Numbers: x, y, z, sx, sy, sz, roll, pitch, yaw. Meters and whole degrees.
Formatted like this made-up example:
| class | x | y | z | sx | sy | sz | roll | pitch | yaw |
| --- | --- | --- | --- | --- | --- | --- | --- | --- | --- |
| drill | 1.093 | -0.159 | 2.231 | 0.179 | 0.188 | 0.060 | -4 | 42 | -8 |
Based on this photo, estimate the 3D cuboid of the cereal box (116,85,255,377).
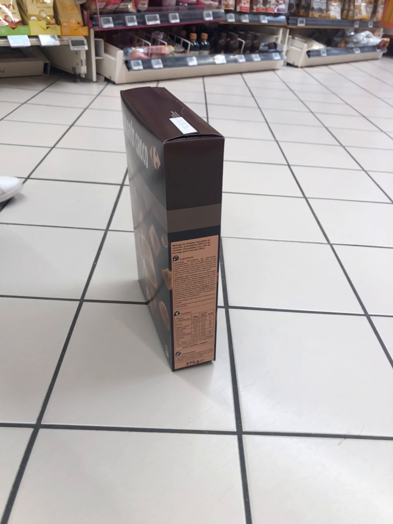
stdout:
| class | x | y | z | sx | sy | sz | roll | pitch | yaw |
| --- | --- | --- | --- | --- | --- | --- | --- | --- | --- |
| cereal box | -0.024 | -0.042 | 0.505 | 0.080 | 0.268 | 0.201 | -10 | 35 | -17 |
